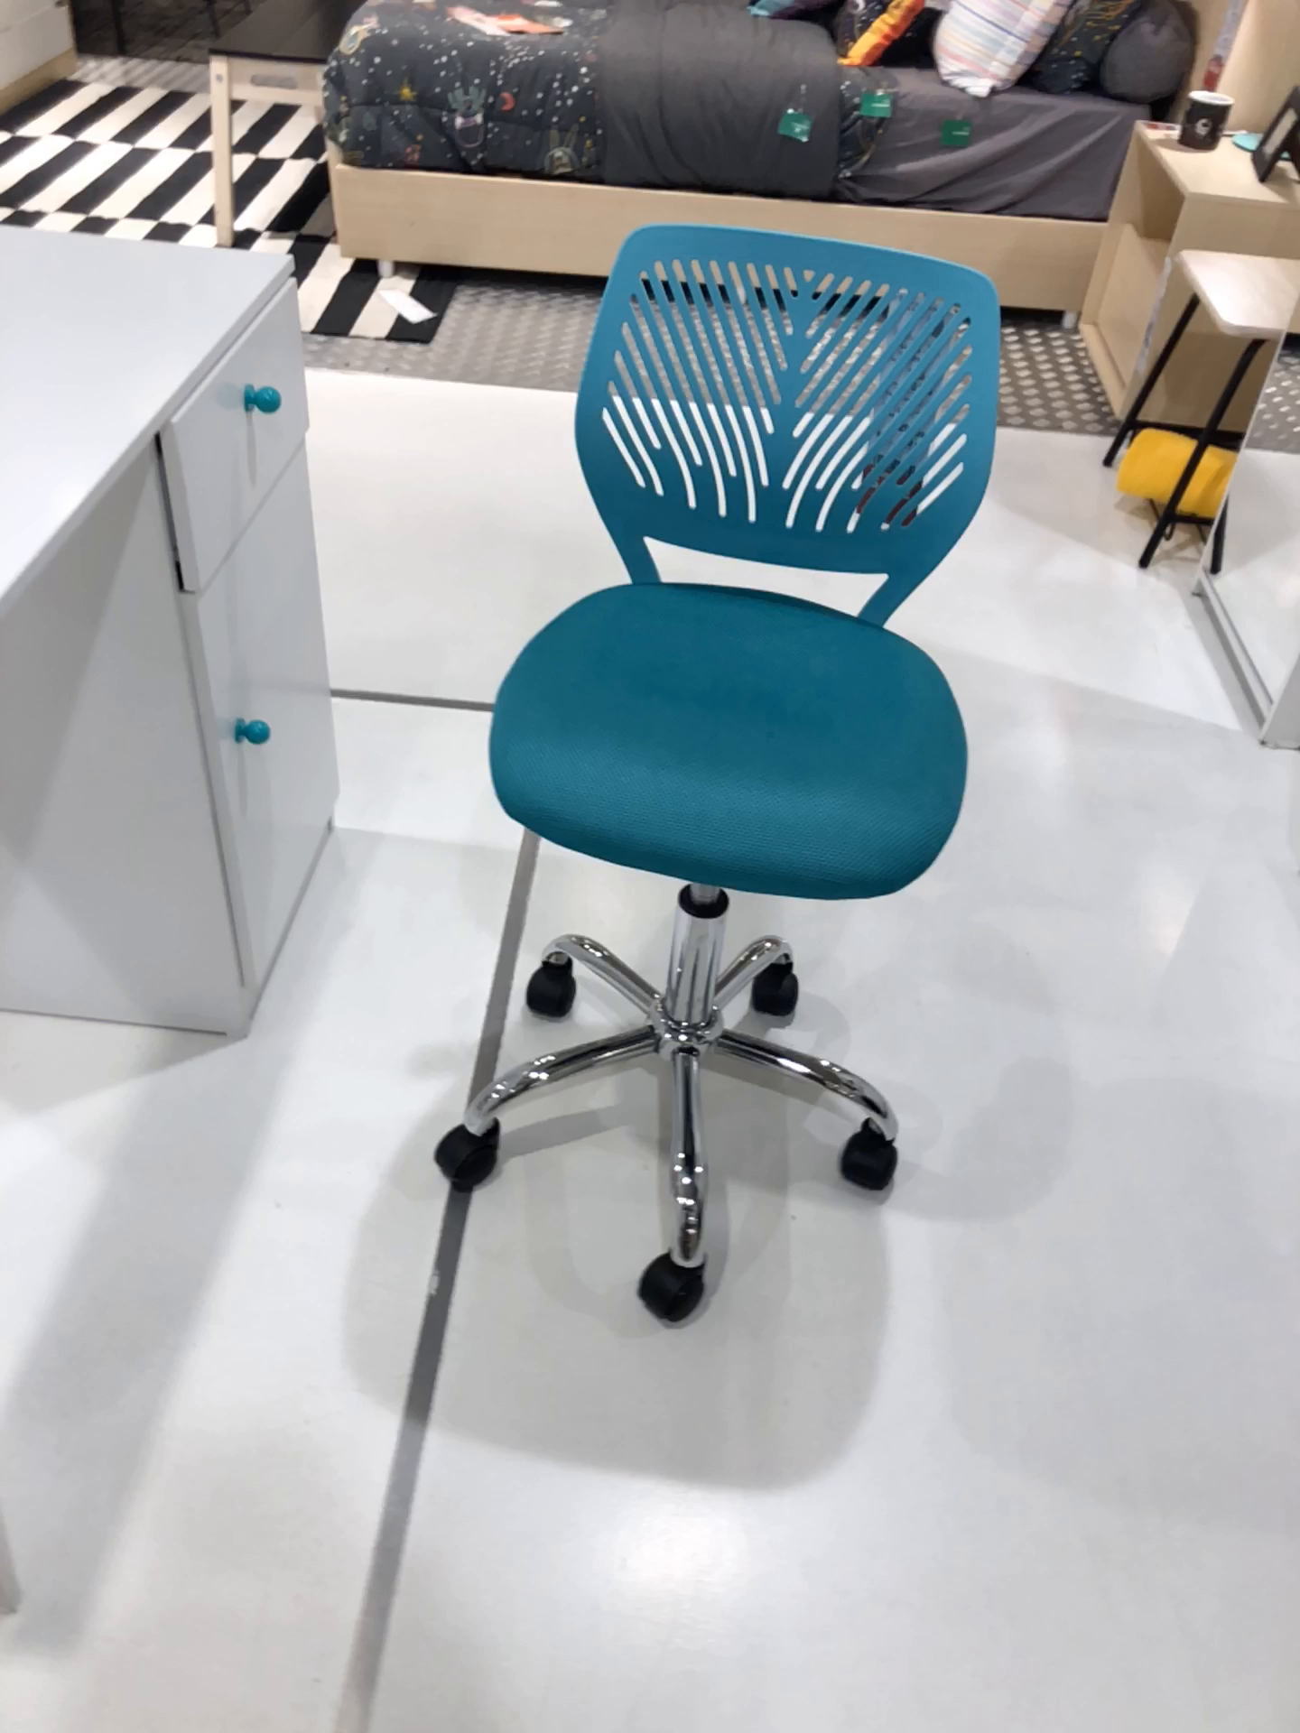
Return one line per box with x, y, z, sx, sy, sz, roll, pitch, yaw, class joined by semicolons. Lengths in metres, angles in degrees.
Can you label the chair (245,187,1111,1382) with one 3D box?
0.033;-0.060;1.237;0.480;0.804;0.534;10;40;6;chair
